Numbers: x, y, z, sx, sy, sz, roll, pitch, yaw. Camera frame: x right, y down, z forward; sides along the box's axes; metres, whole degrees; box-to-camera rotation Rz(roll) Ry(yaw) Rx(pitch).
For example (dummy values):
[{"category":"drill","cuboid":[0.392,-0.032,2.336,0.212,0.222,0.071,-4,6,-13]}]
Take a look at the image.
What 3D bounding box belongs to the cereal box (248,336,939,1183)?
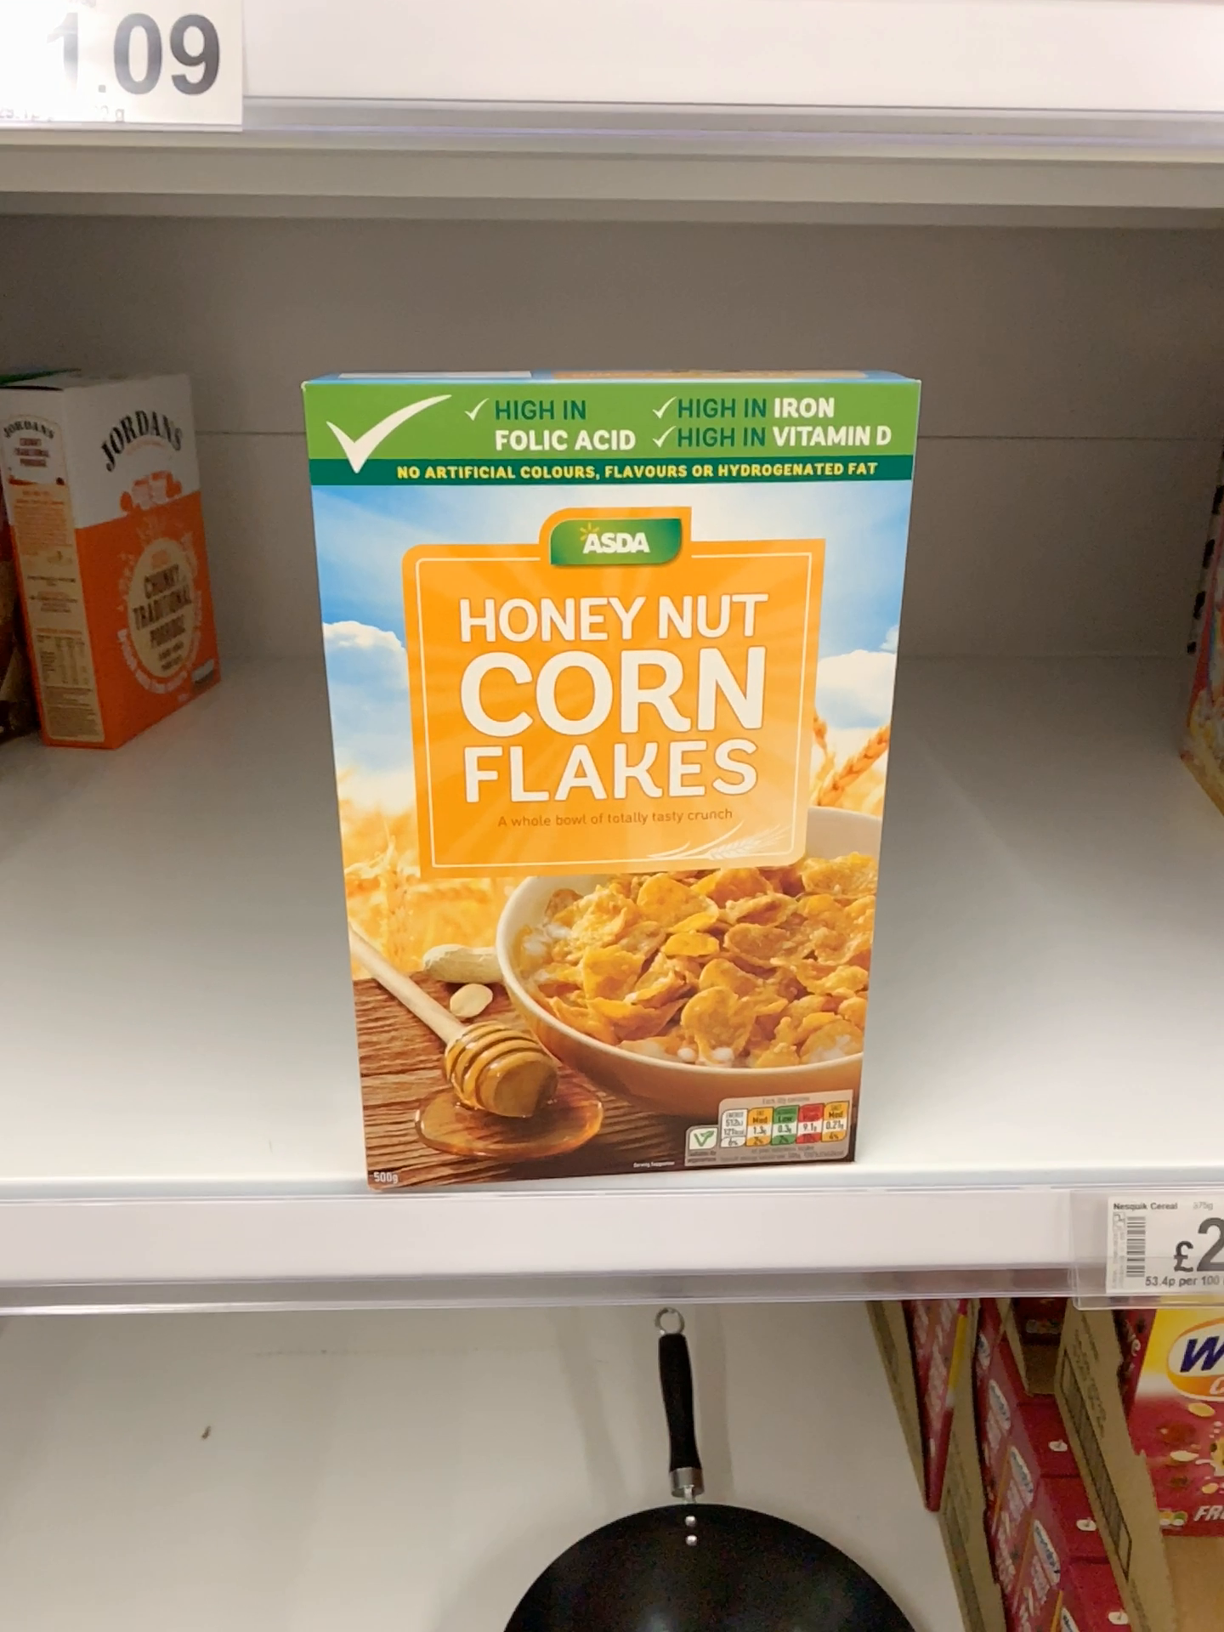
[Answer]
[{"category":"cereal box","cuboid":[-0.007,-0.015,0.449,0.200,0.288,0.071,-1,22,-5]}]
